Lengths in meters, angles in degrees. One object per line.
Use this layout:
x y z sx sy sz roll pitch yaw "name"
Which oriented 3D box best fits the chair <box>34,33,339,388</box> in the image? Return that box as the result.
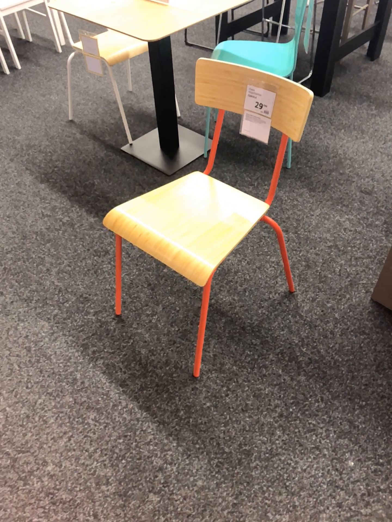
0.000 -0.145 1.342 0.500 0.816 0.563 32 55 29 "chair"
